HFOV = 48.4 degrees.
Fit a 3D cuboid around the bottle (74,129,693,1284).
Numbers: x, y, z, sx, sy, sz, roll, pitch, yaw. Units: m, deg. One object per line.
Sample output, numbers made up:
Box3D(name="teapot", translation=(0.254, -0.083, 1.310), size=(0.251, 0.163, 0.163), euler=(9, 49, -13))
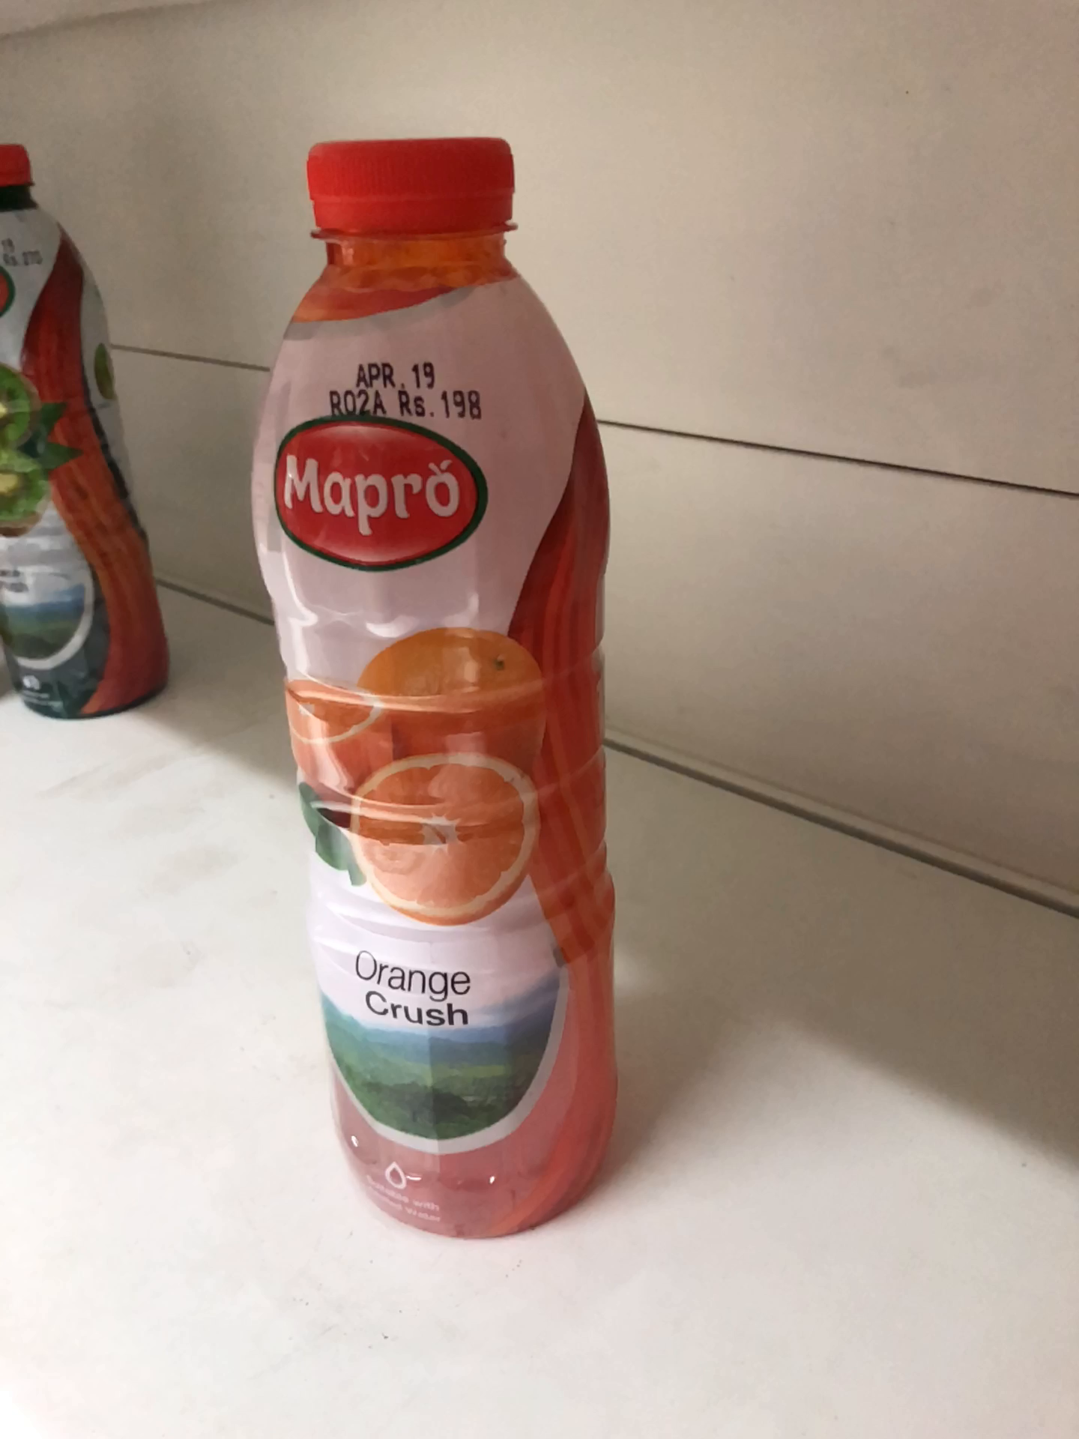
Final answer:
Box3D(name="bottle", translation=(-0.021, 0.000, 0.273), size=(0.090, 0.239, 0.080), euler=(6, 26, 16))
